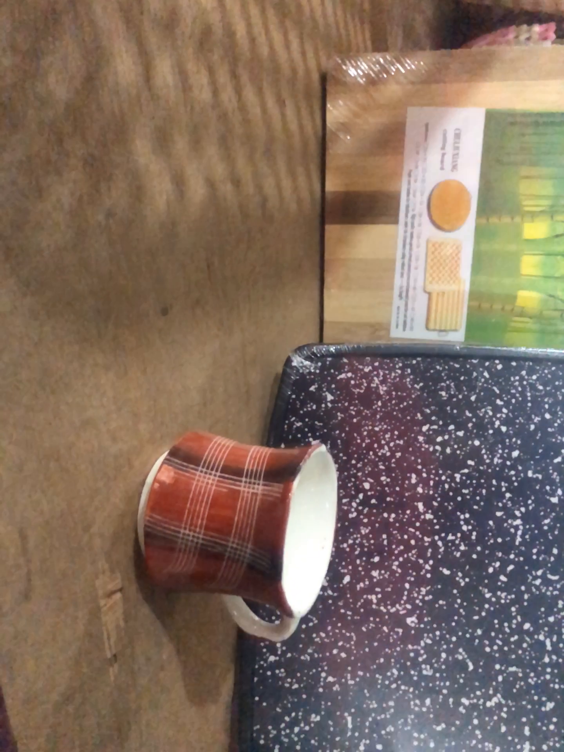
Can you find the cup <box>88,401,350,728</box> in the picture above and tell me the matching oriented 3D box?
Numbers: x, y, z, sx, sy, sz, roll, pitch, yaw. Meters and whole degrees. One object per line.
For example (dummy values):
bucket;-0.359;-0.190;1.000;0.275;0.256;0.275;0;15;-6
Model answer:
cup;-0.016;0.065;0.230;0.060;0.060;0.090;-52;139;-55
